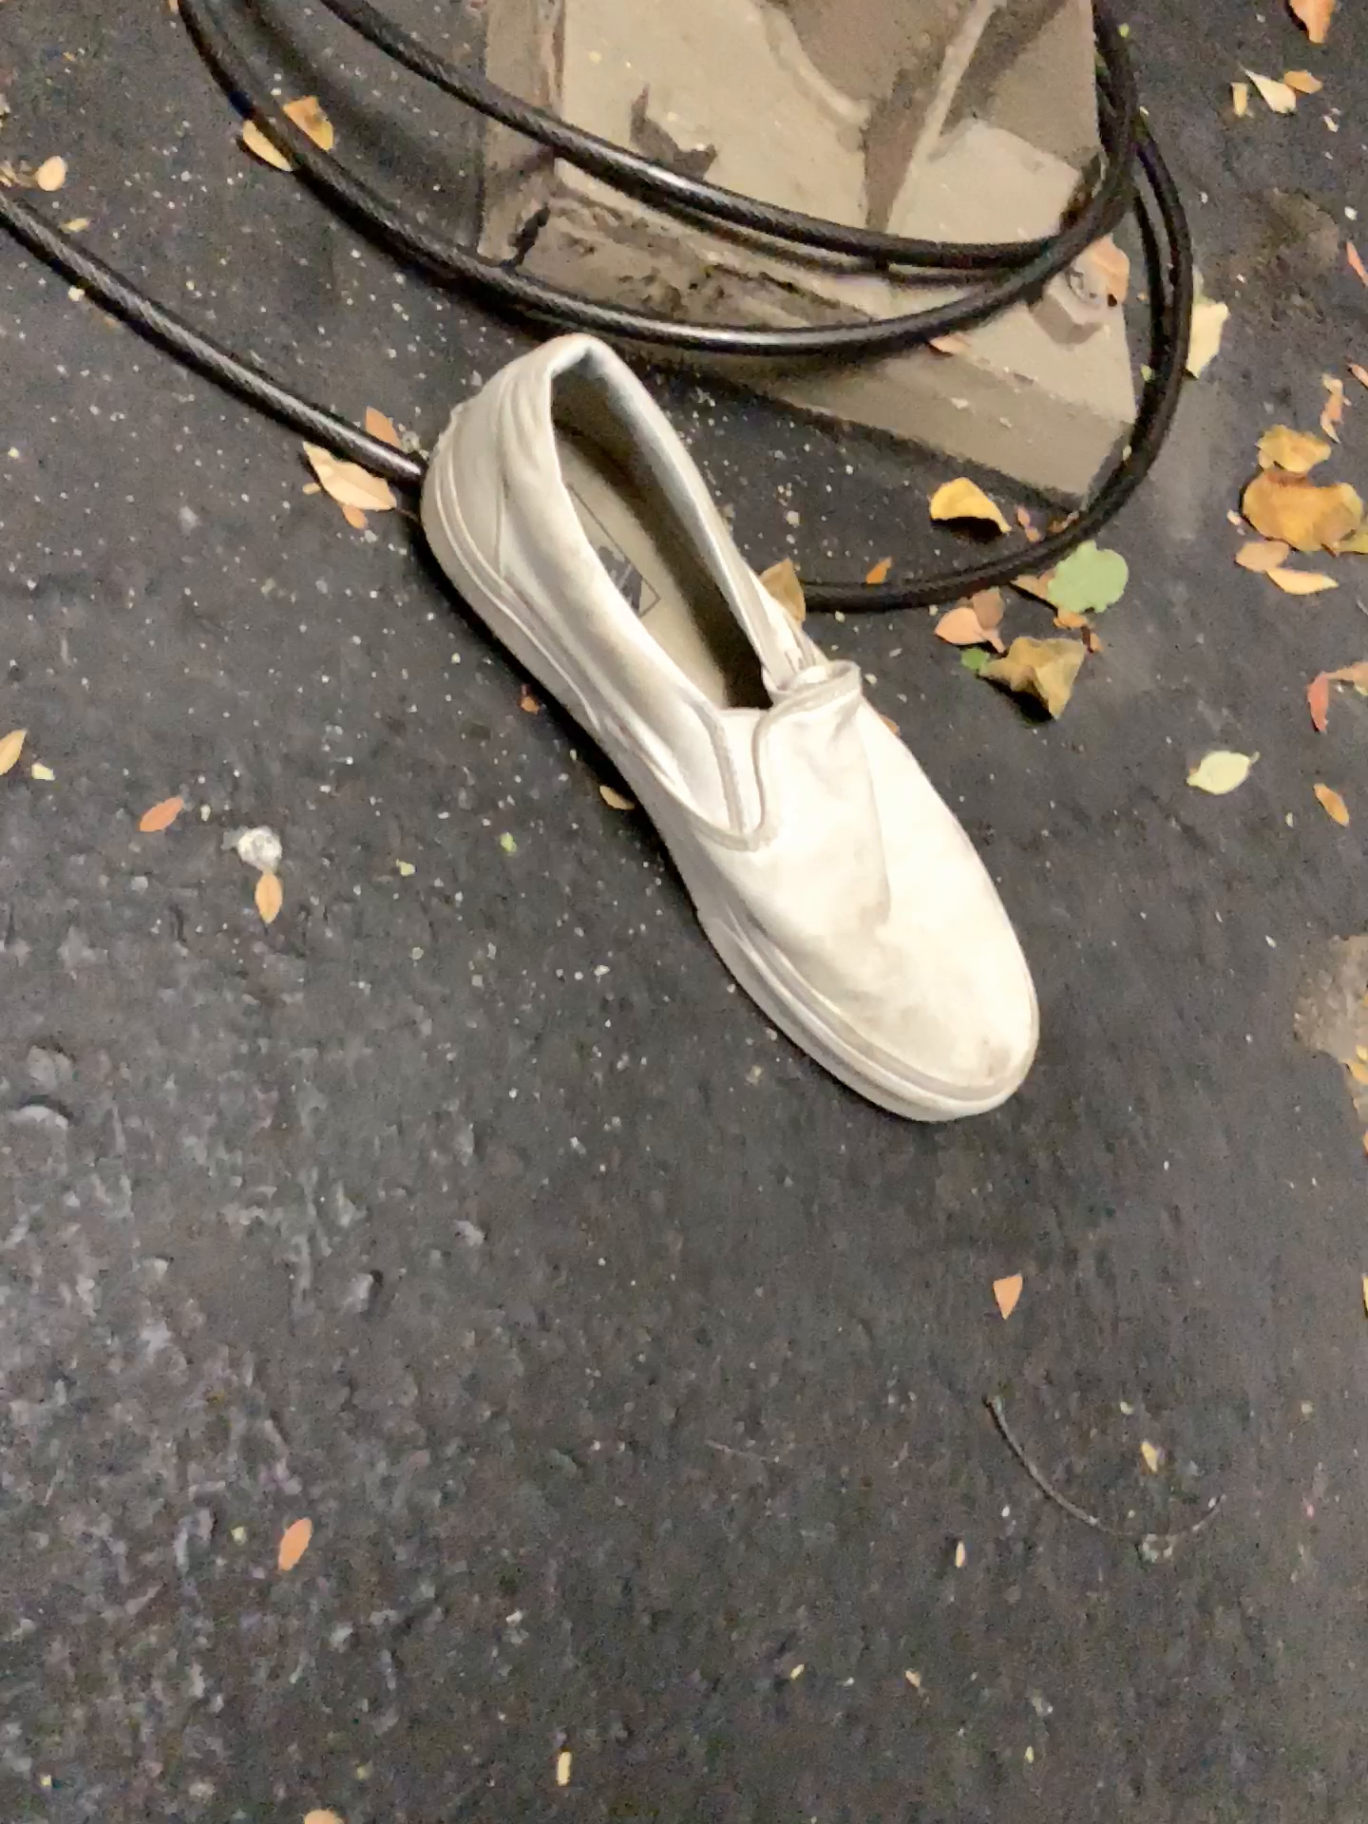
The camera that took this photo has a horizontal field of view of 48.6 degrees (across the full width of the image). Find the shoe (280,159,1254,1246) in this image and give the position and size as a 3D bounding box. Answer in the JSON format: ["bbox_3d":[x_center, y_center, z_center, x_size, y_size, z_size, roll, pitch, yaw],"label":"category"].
[{"bbox_3d":[0.027,-0.061,0.480,0.120,0.100,0.310,-39,94,-35],"label":"shoe"}]
